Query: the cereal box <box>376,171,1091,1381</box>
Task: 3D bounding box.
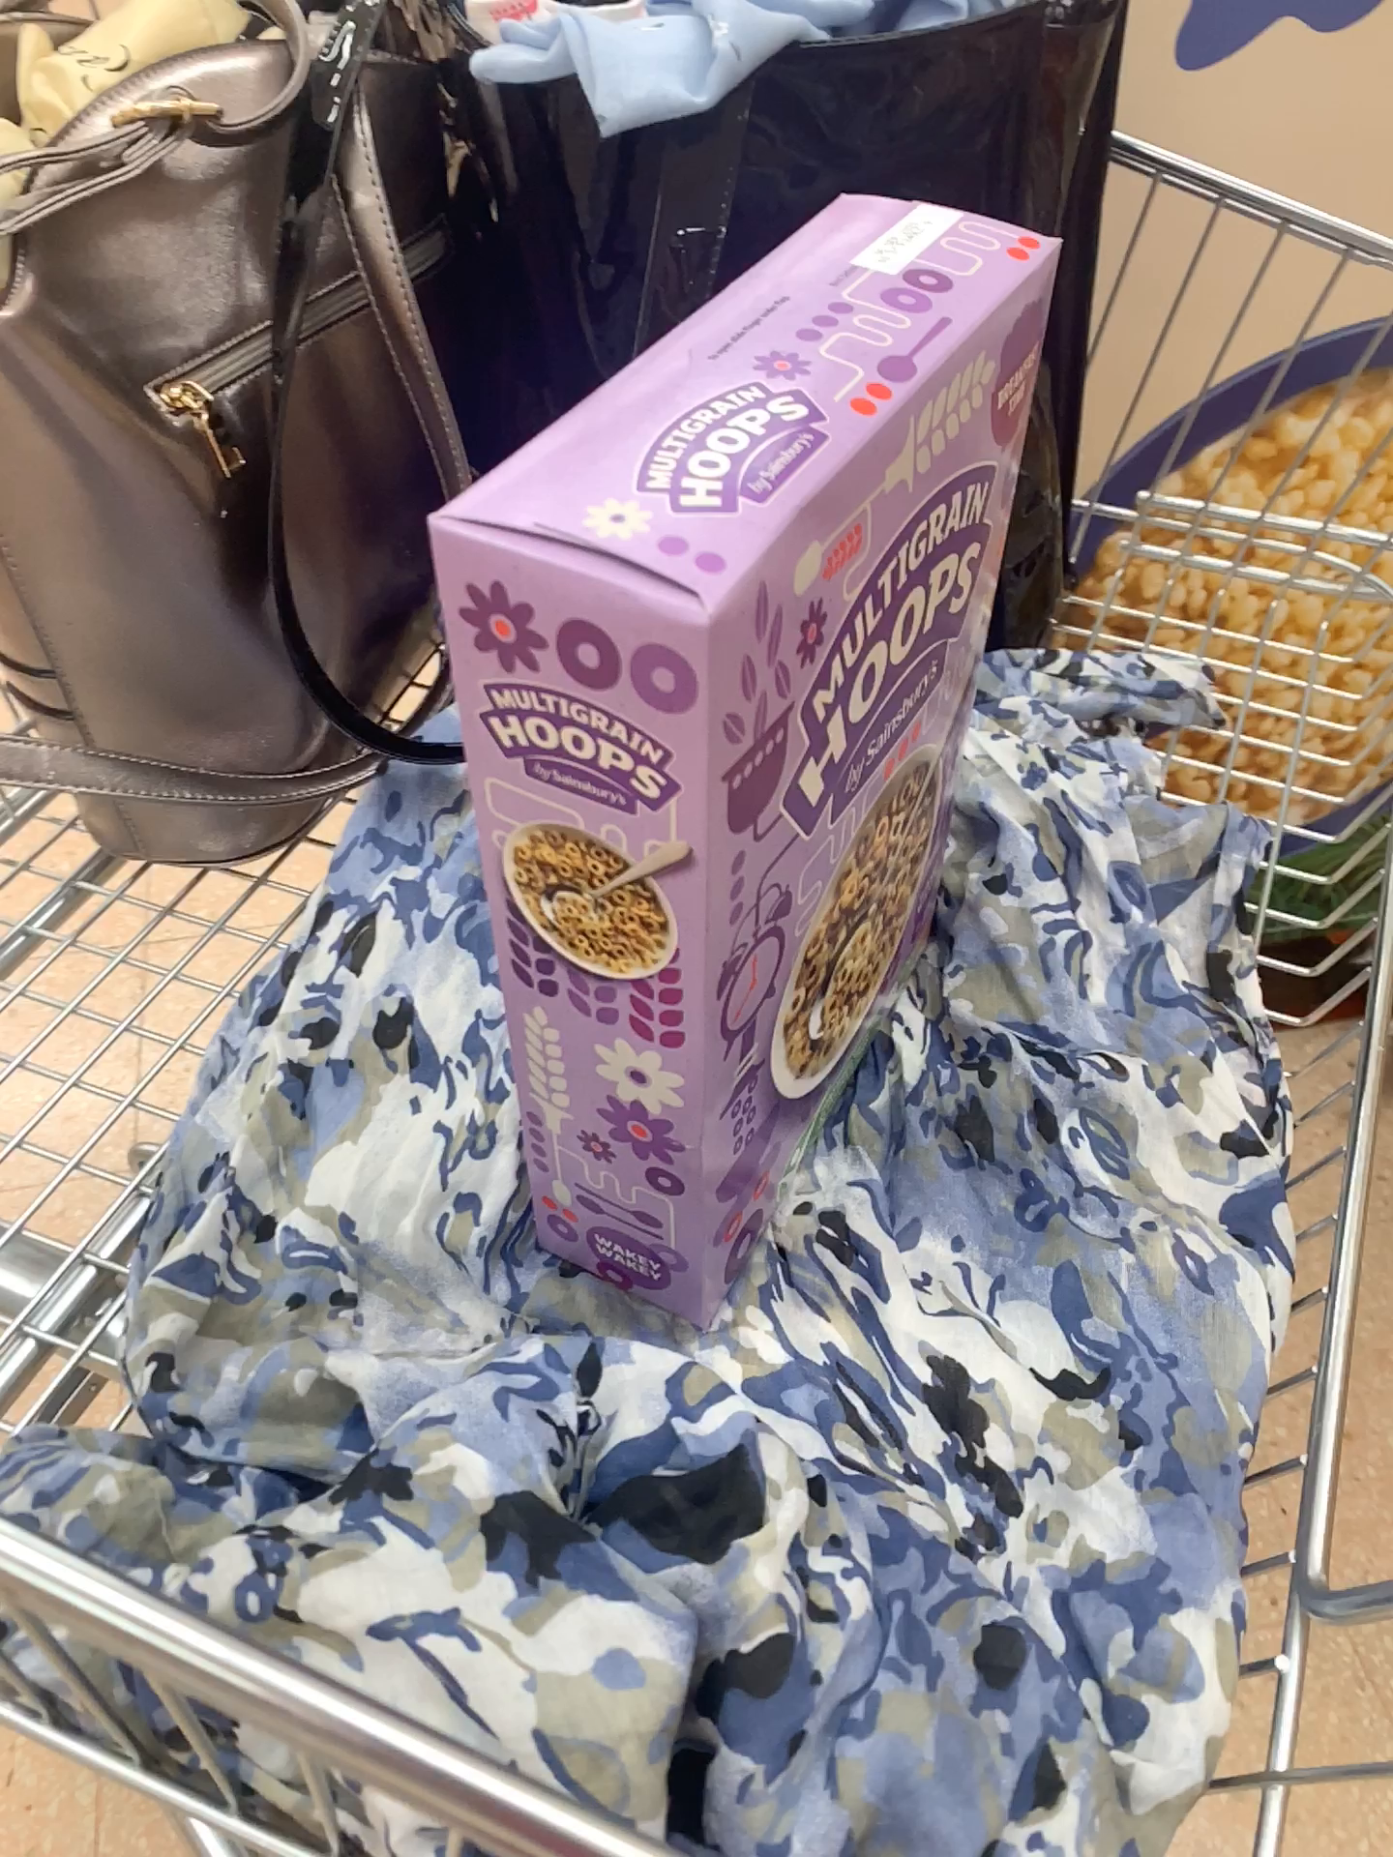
[{"bbox_3d":[0.021,-0.036,0.409,0.070,0.267,0.212,21,49,19],"label":"cereal box"}]
